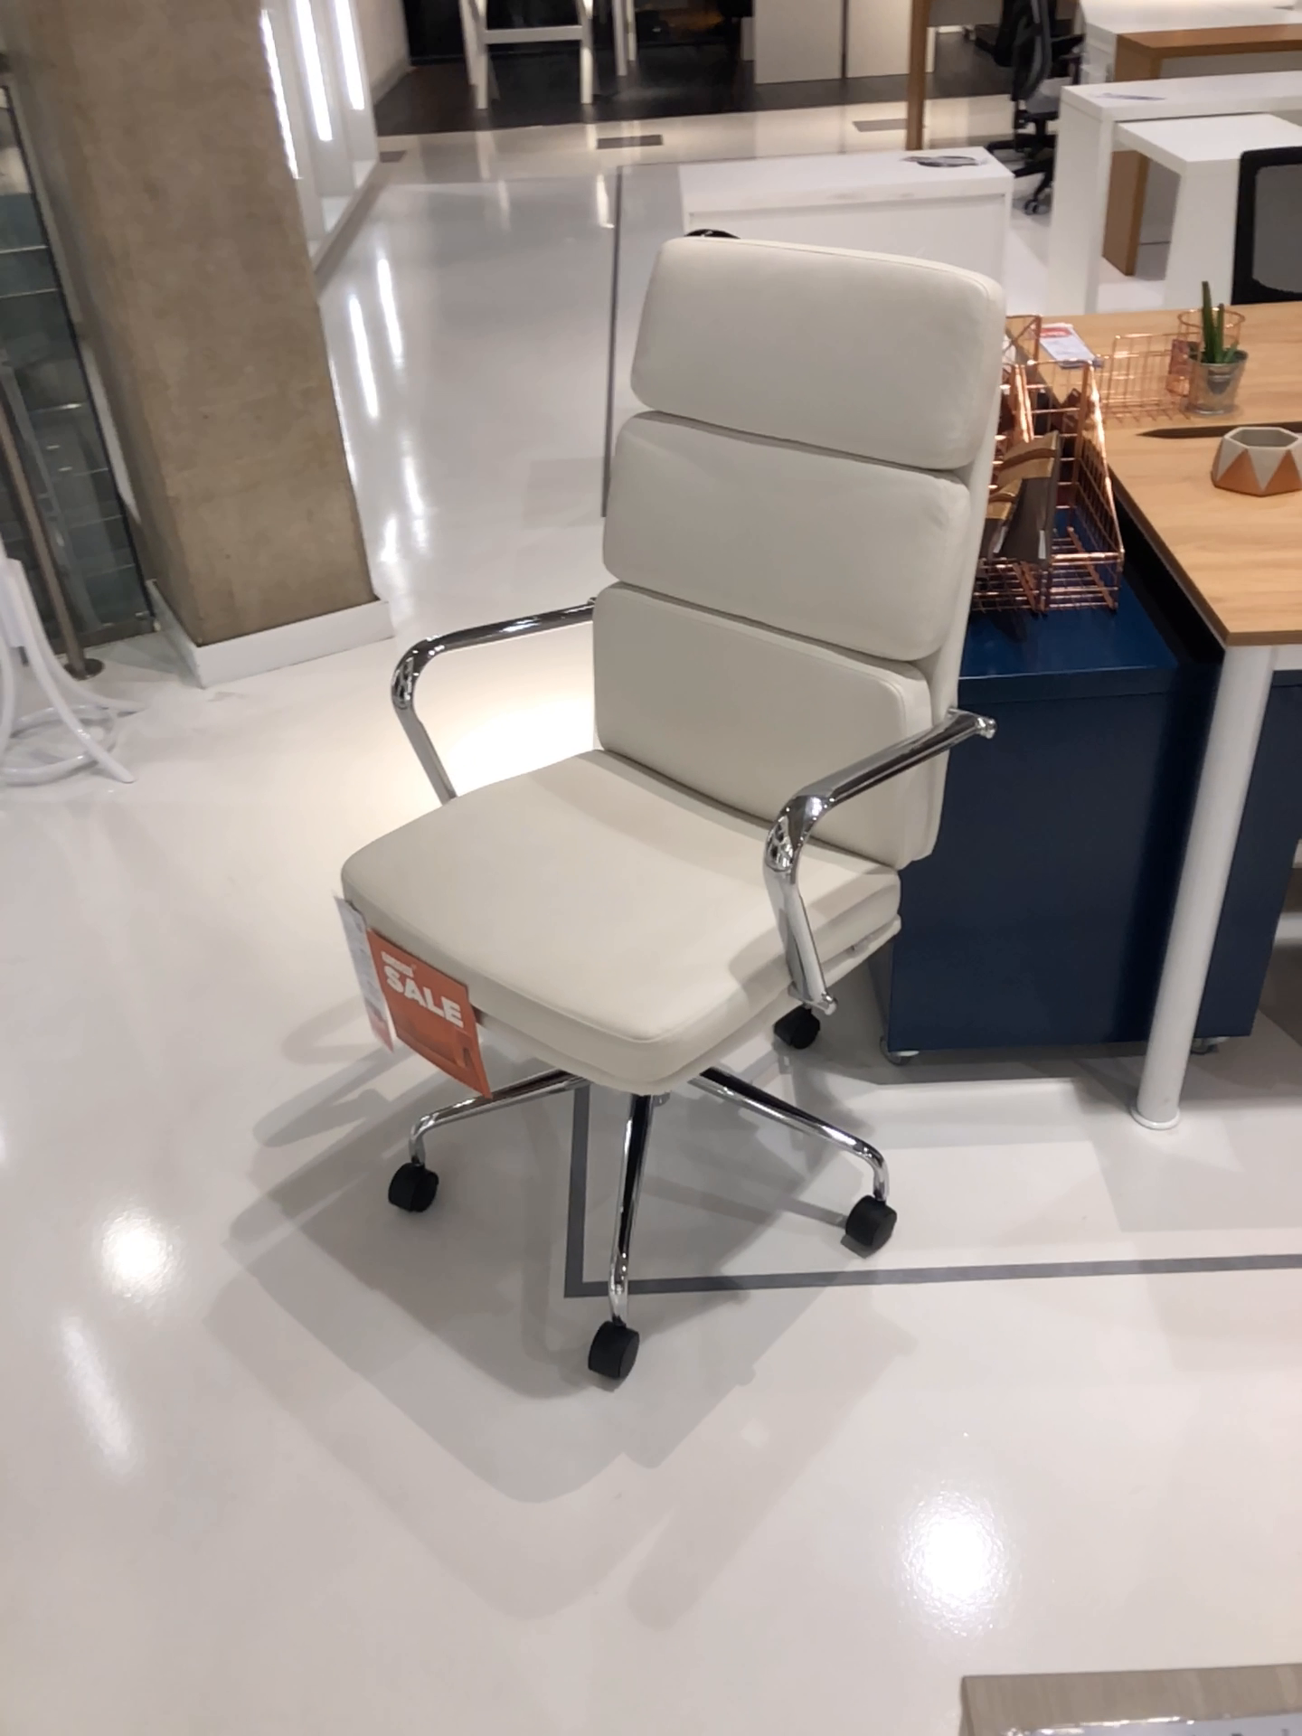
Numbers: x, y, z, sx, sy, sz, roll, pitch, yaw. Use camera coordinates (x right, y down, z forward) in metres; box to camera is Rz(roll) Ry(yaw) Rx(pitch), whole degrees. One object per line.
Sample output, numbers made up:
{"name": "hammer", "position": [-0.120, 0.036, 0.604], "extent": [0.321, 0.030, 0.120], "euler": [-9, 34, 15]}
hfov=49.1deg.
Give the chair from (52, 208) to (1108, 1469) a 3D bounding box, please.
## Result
{"name": "chair", "position": [-0.031, -0.074, 1.536], "extent": [0.662, 1.012, 0.653], "euler": [25, 44, 35]}
